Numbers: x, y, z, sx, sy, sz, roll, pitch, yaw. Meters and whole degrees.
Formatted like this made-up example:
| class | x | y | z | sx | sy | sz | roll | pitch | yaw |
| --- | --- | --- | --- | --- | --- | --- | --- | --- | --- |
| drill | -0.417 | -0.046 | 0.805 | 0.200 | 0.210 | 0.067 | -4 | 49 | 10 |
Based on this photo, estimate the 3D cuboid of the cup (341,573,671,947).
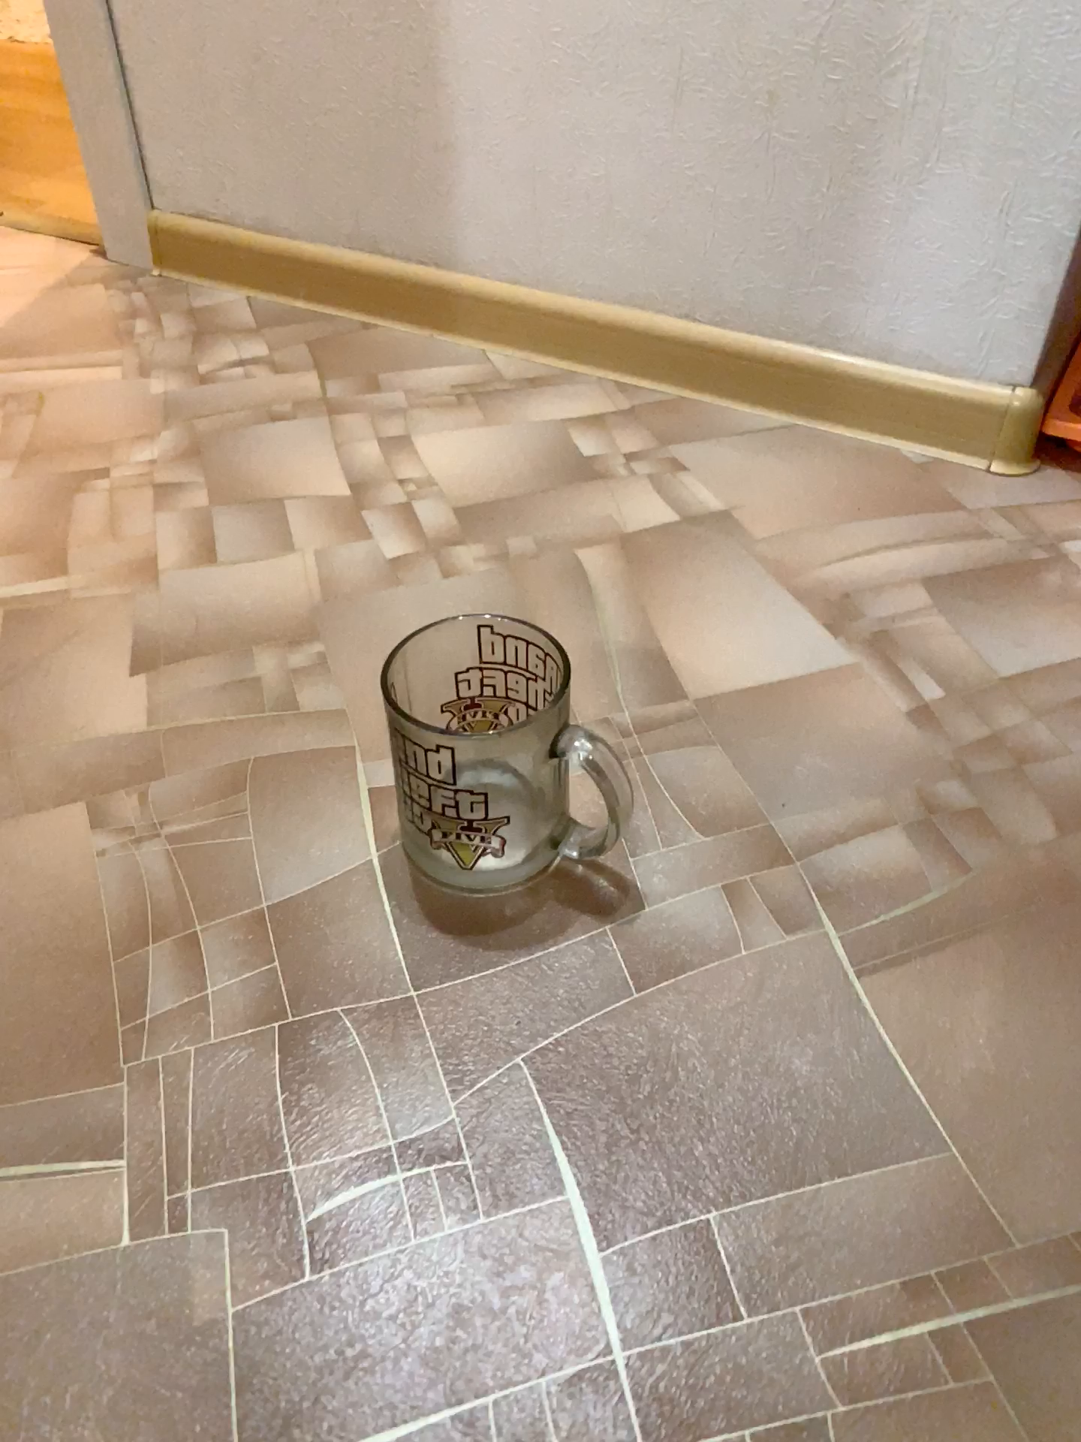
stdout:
| class | x | y | z | sx | sy | sz | roll | pitch | yaw |
| --- | --- | --- | --- | --- | --- | --- | --- | --- | --- |
| cup | -0.012 | 0.014 | 0.450 | 0.098 | 0.097 | 0.082 | 20 | 45 | 20 |
